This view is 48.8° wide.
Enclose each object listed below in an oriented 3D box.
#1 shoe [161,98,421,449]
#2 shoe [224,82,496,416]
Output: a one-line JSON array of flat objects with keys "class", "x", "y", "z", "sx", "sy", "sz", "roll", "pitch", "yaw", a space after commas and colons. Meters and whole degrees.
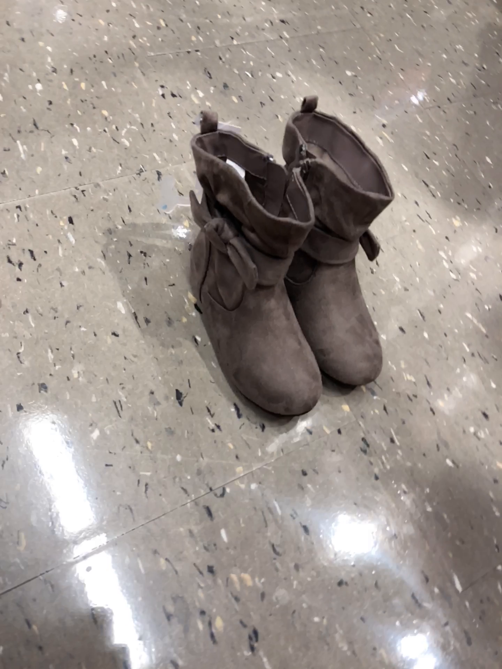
[{"class": "shoe", "x": 0.010, "y": -0.040, "z": 0.422, "sx": 0.080, "sy": 0.160, "sz": 0.200, "roll": -16, "pitch": 69, "yaw": -22}, {"class": "shoe", "x": 0.066, "y": -0.063, "z": 0.448, "sx": 0.080, "sy": 0.160, "sz": 0.200, "roll": -16, "pitch": 69, "yaw": -22}]
